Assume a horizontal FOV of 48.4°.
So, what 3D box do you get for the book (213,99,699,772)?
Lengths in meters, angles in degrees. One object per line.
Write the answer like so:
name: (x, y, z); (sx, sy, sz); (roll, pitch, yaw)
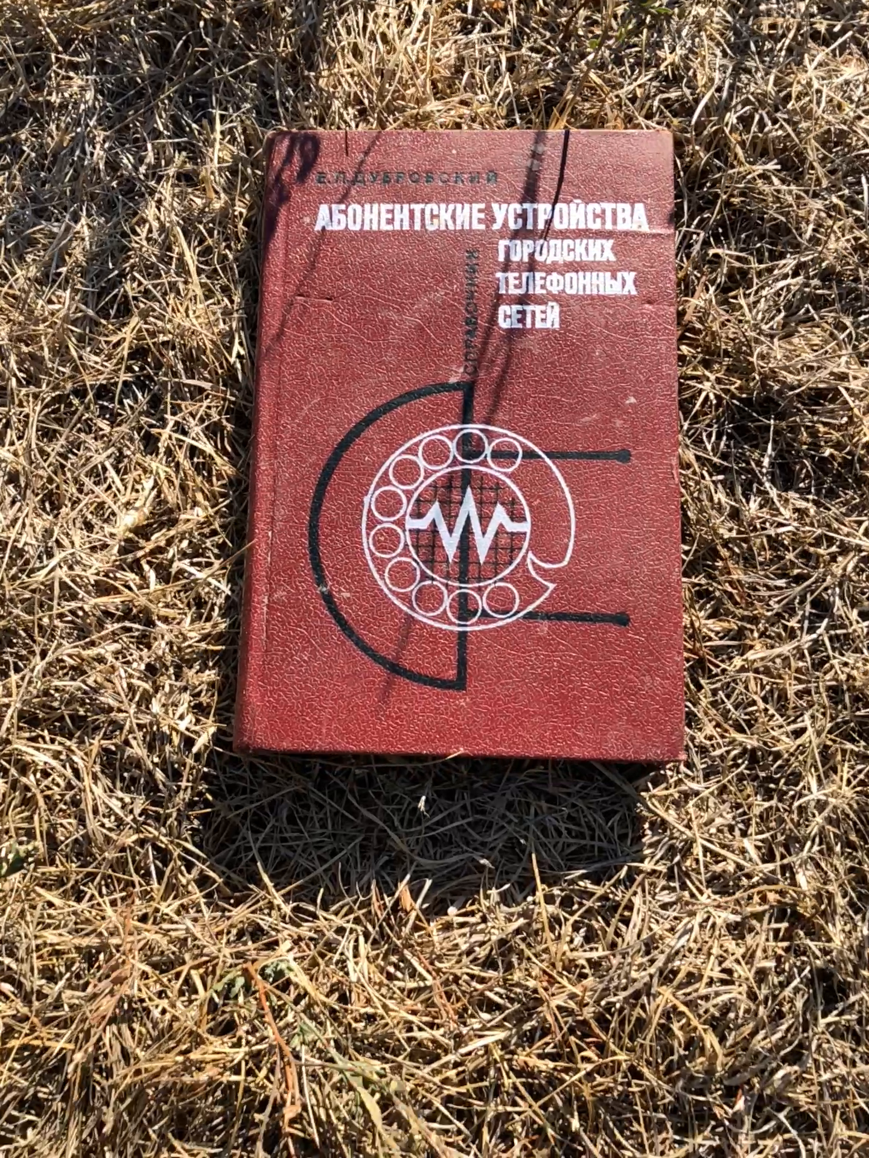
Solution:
book: (0.009, -0.048, 0.312); (0.141, 0.030, 0.211); (2, 81, 1)
